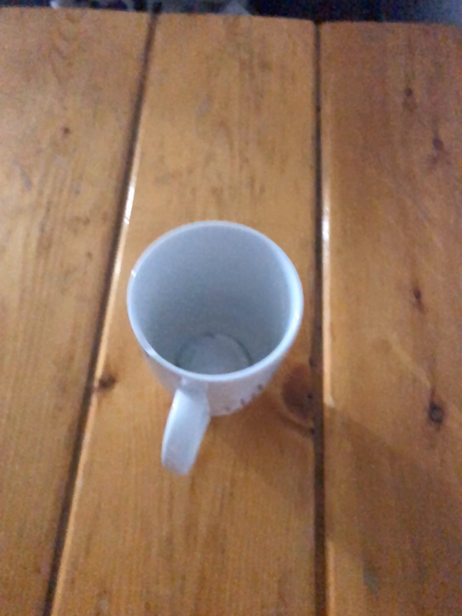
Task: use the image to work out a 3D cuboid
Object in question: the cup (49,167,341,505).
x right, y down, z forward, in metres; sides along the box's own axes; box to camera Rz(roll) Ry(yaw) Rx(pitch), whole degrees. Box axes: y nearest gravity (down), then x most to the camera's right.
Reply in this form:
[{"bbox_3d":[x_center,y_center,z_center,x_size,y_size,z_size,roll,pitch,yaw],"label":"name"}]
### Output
[{"bbox_3d":[-0.010,0.023,0.294,0.100,0.120,0.140,14,66,7],"label":"cup"}]
